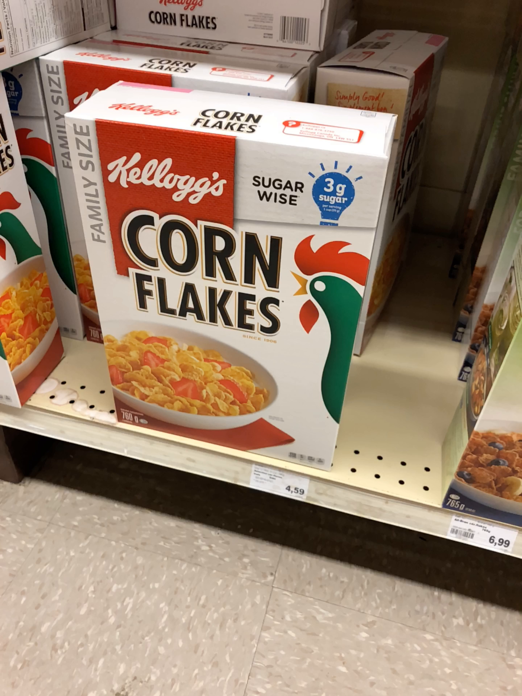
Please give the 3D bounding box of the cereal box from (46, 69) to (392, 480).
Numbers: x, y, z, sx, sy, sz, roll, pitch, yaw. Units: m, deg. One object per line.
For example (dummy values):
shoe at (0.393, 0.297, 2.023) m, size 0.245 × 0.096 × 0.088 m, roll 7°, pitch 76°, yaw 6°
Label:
cereal box at (-0.039, -0.055, 0.600) m, size 0.270 × 0.387 × 0.101 m, roll 10°, pitch 39°, yaw 9°
